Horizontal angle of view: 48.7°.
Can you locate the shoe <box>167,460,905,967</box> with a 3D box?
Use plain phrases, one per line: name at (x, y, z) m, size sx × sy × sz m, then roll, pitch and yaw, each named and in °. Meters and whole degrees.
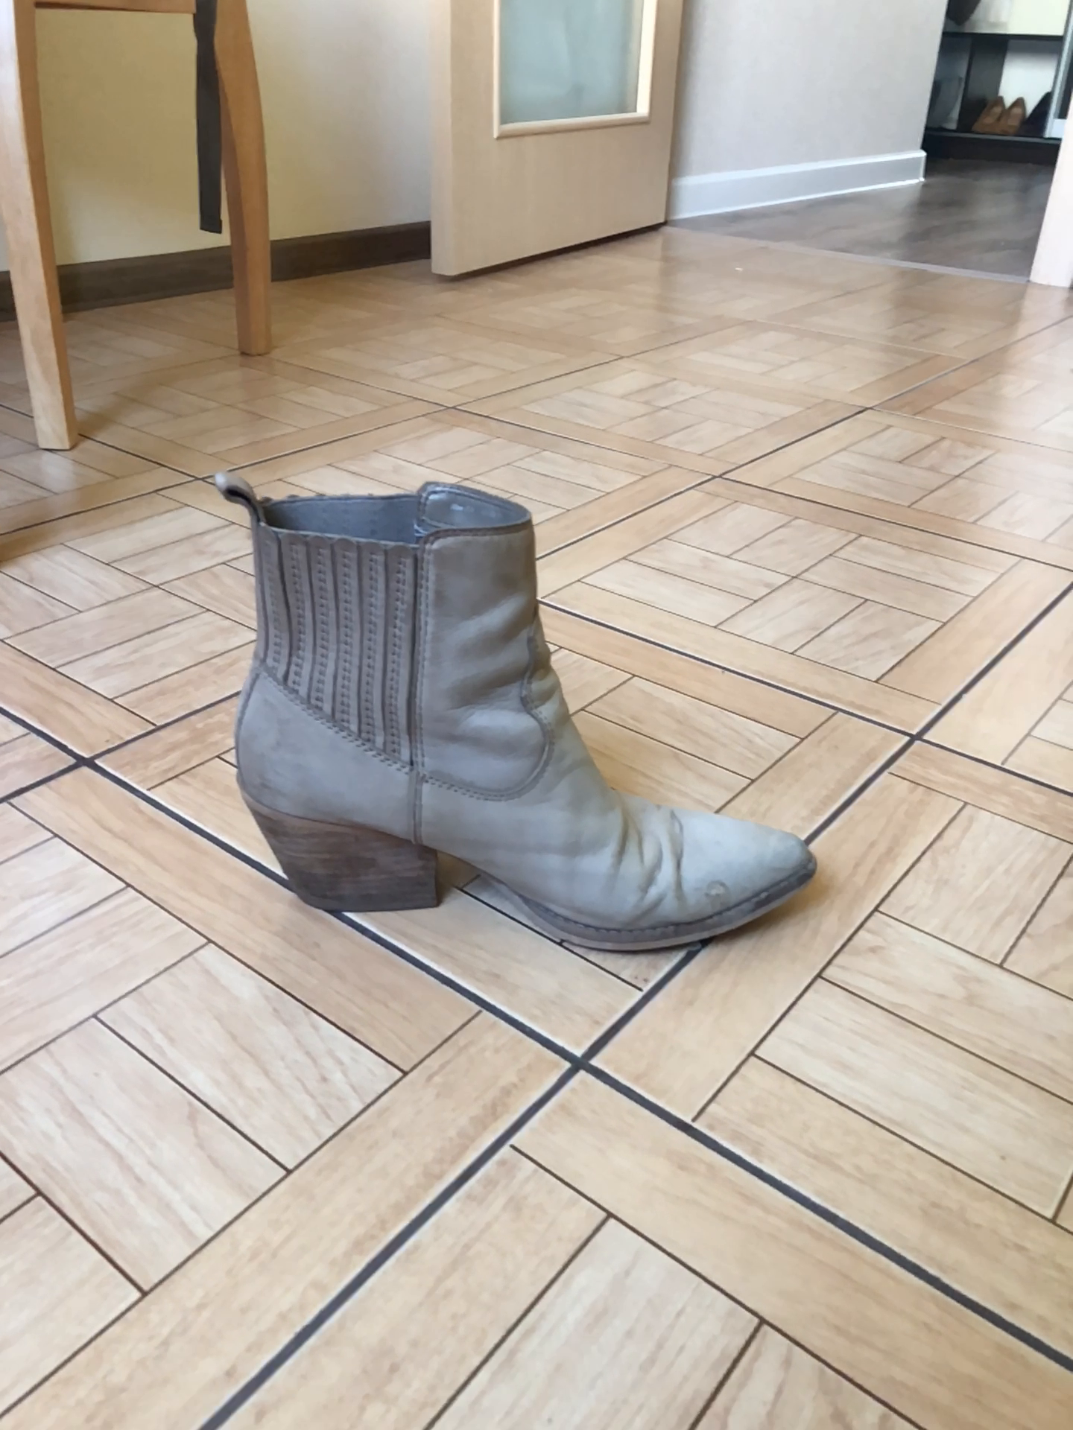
shoe at (-0.003, 0.000, 0.500) m, size 0.260 × 0.179 × 0.090 m, roll 3°, pitch 29°, yaw 0°
